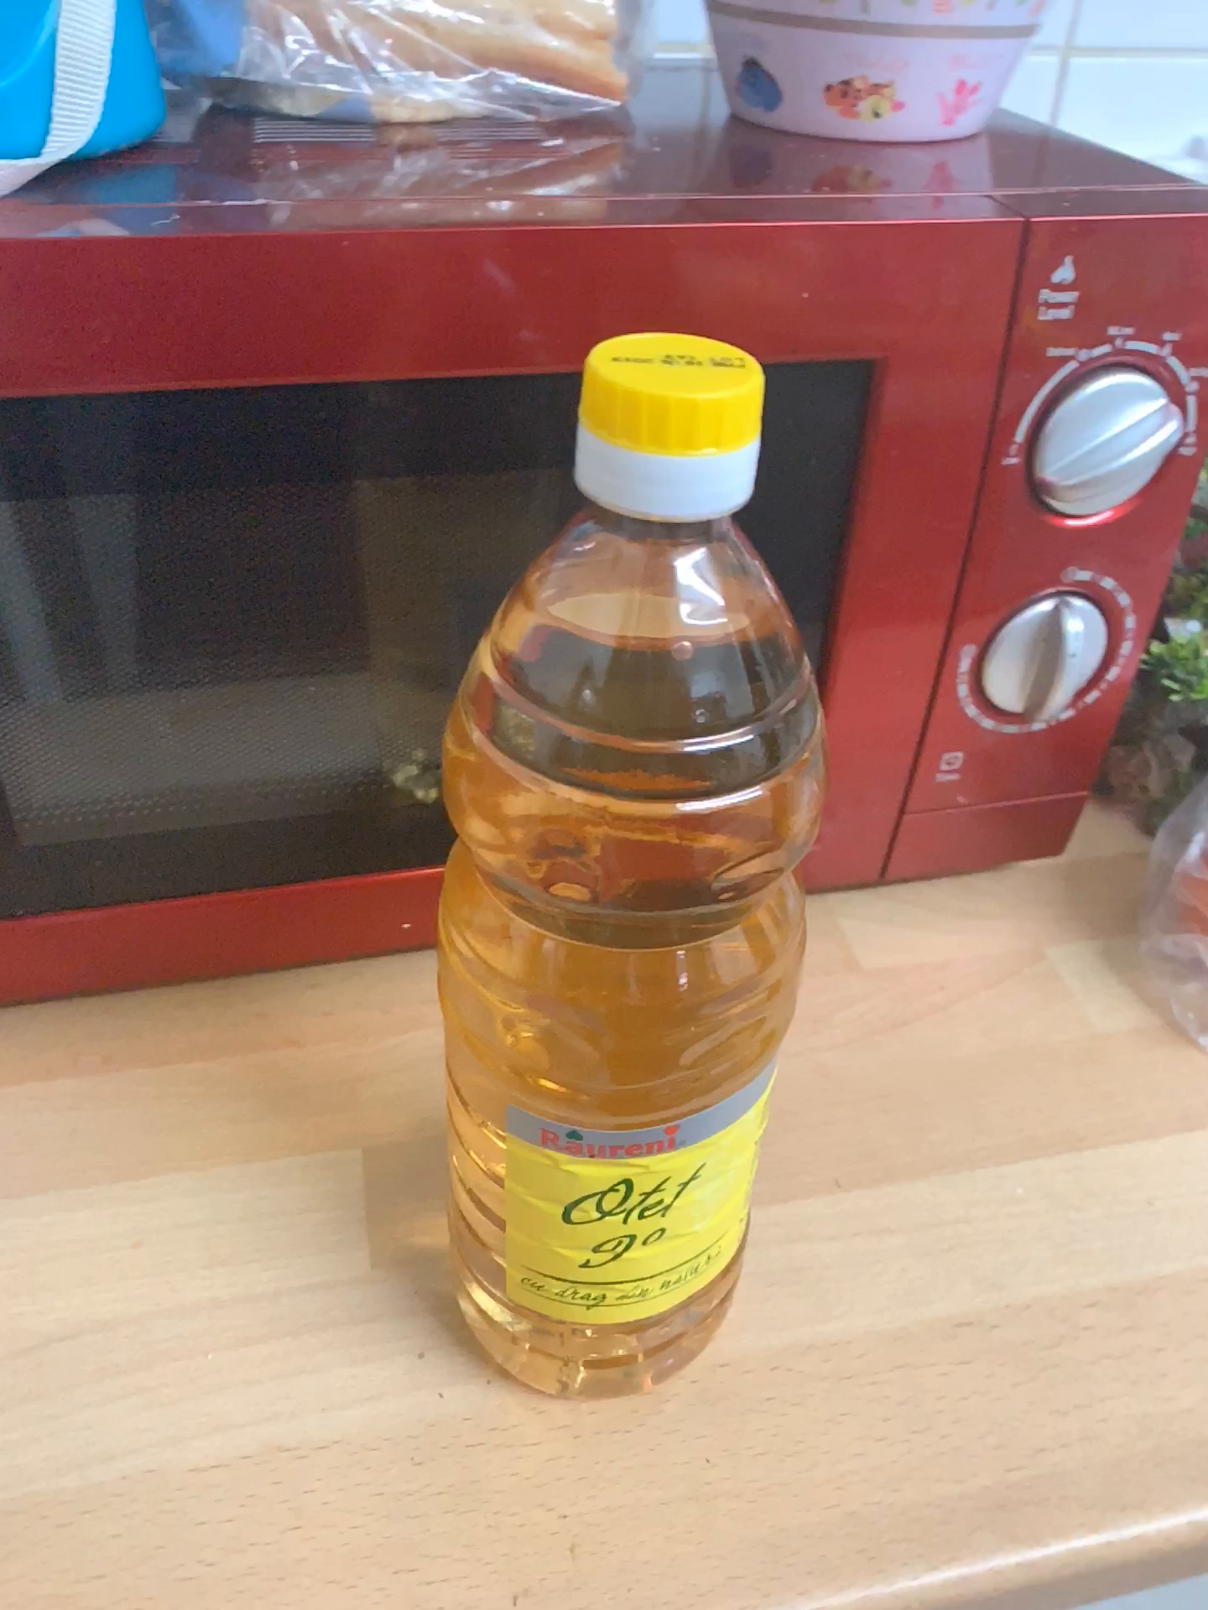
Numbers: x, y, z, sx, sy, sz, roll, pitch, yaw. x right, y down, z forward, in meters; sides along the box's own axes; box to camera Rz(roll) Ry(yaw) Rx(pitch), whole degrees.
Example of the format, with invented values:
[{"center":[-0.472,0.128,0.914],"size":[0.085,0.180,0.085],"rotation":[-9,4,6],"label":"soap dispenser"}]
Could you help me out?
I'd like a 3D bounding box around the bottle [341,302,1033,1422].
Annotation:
[{"center":[0.003,0.026,0.260],"size":[0.090,0.228,0.081],"rotation":[-3,37,-7],"label":"bottle"}]
